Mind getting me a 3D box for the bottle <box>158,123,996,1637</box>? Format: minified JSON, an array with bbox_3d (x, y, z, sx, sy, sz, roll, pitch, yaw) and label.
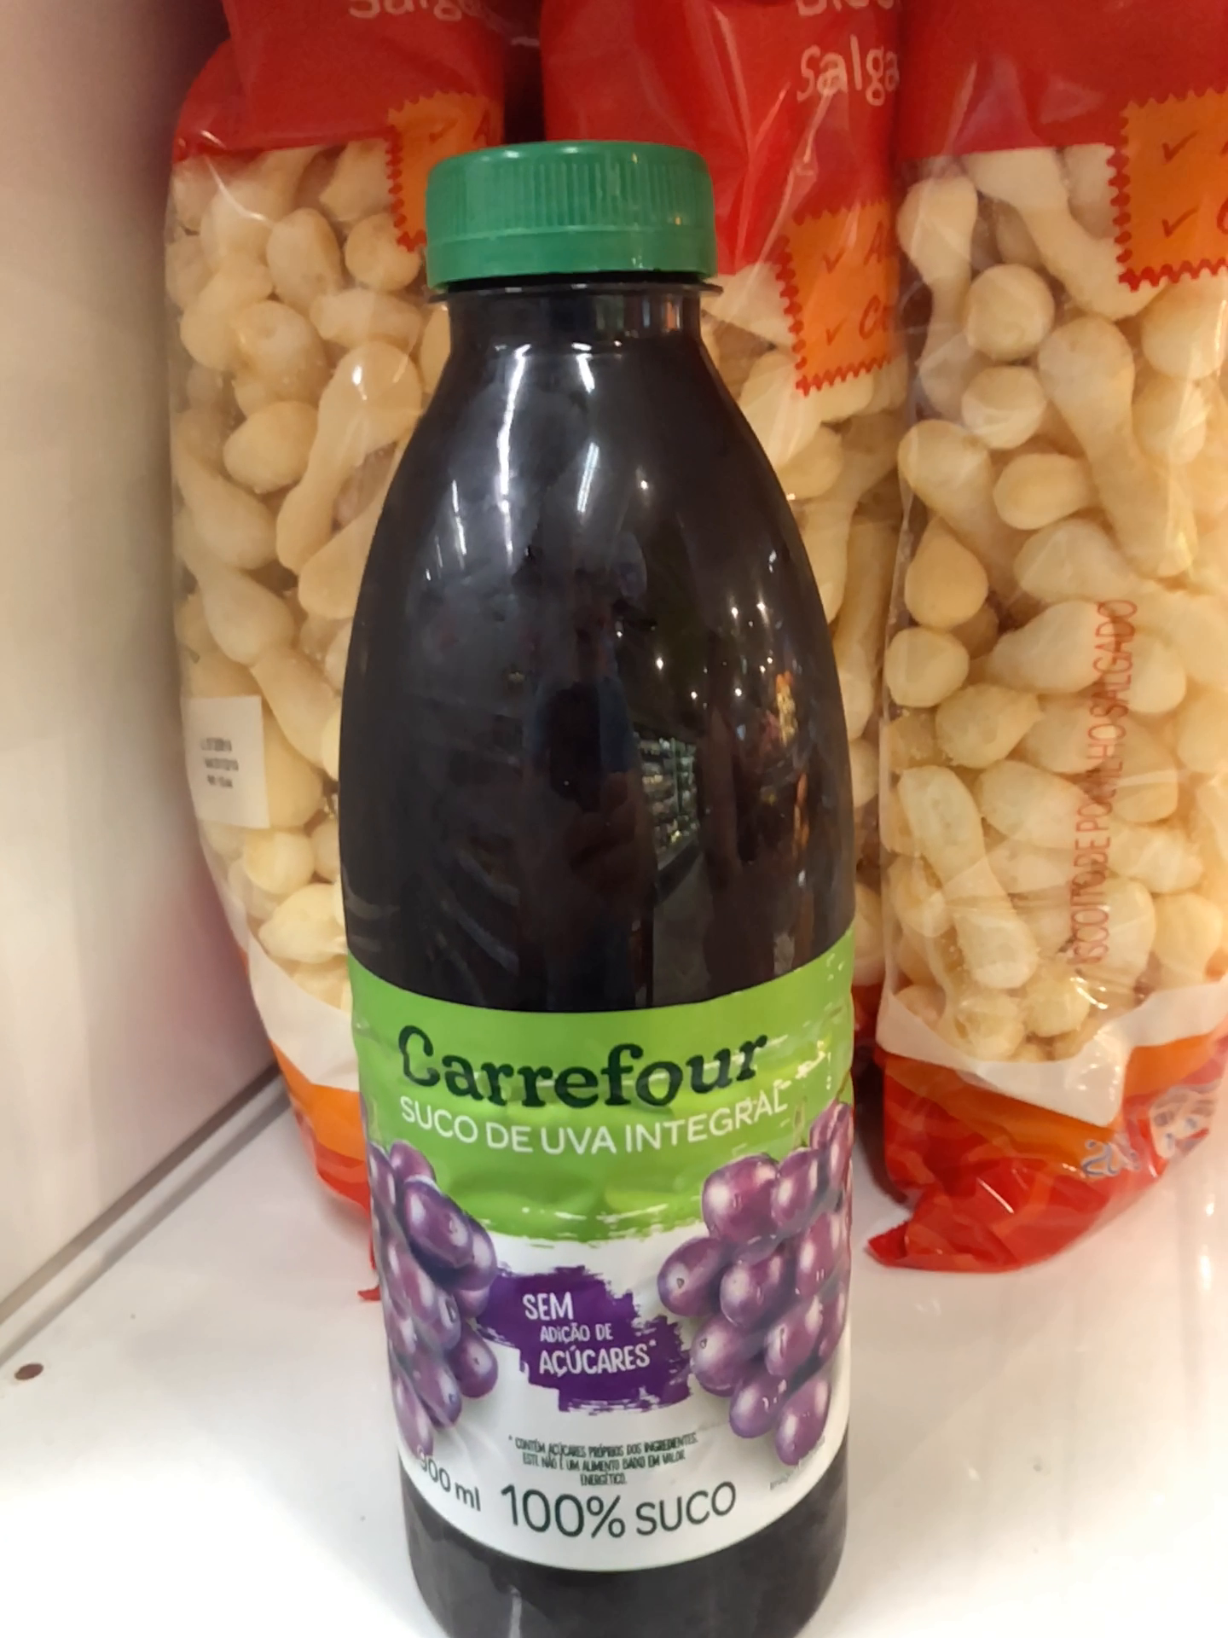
[{"bbox_3d":[-0.003,0.022,0.220,0.090,0.229,0.080,-1,18,0],"label":"bottle"}]
